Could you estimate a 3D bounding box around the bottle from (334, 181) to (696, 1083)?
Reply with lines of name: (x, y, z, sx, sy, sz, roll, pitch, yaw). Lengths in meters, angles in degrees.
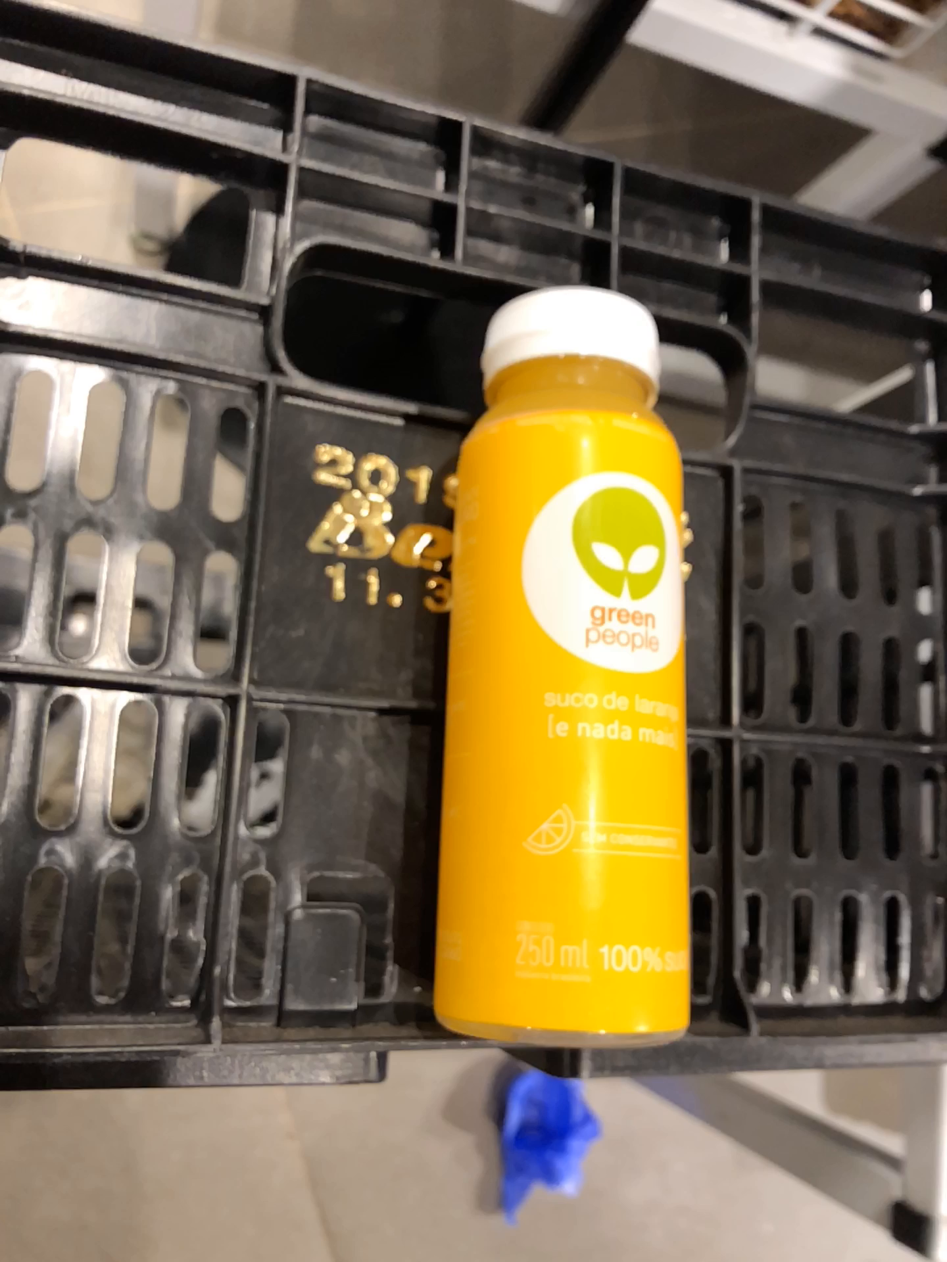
bottle: (0.007, -0.001, 0.239, 0.060, 0.050, 0.180, 5, 75, -18)
